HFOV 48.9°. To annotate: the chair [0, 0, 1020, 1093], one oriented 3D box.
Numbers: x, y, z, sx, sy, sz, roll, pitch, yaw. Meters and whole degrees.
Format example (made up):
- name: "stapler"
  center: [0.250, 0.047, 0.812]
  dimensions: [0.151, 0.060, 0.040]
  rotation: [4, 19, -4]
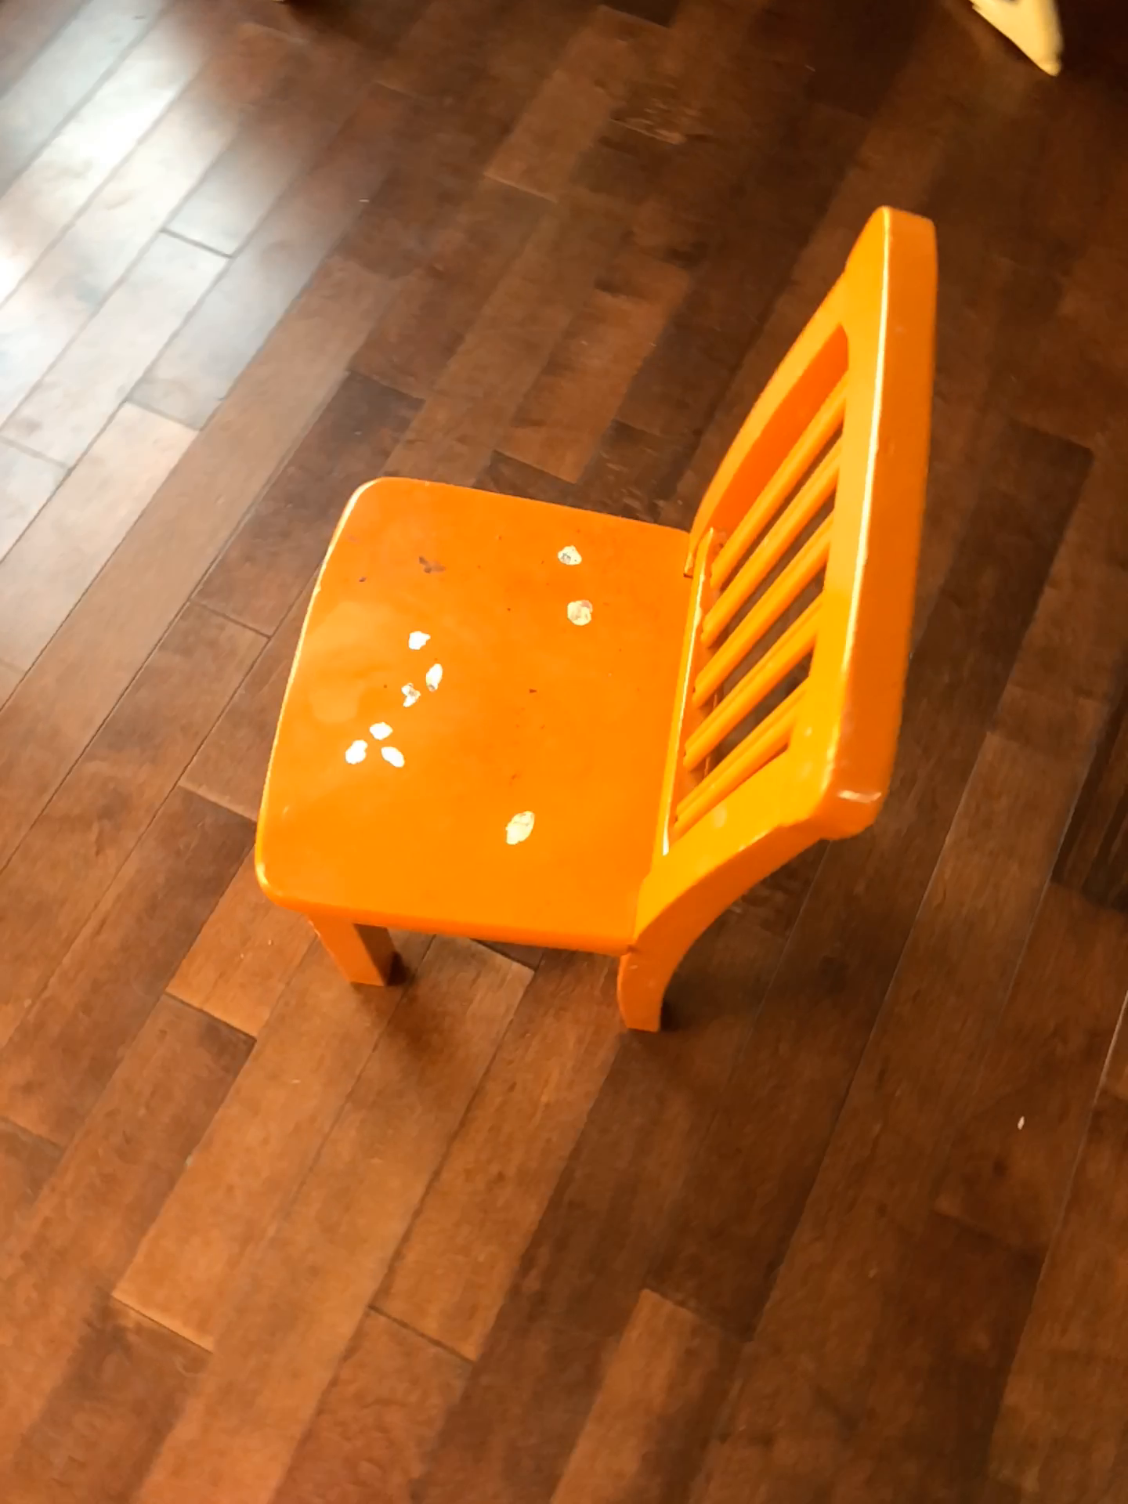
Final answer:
- name: "chair"
  center: [-0.005, -0.044, 0.750]
  dimensions: [0.350, 0.570, 0.360]
  rotation: [9, 67, 3]
